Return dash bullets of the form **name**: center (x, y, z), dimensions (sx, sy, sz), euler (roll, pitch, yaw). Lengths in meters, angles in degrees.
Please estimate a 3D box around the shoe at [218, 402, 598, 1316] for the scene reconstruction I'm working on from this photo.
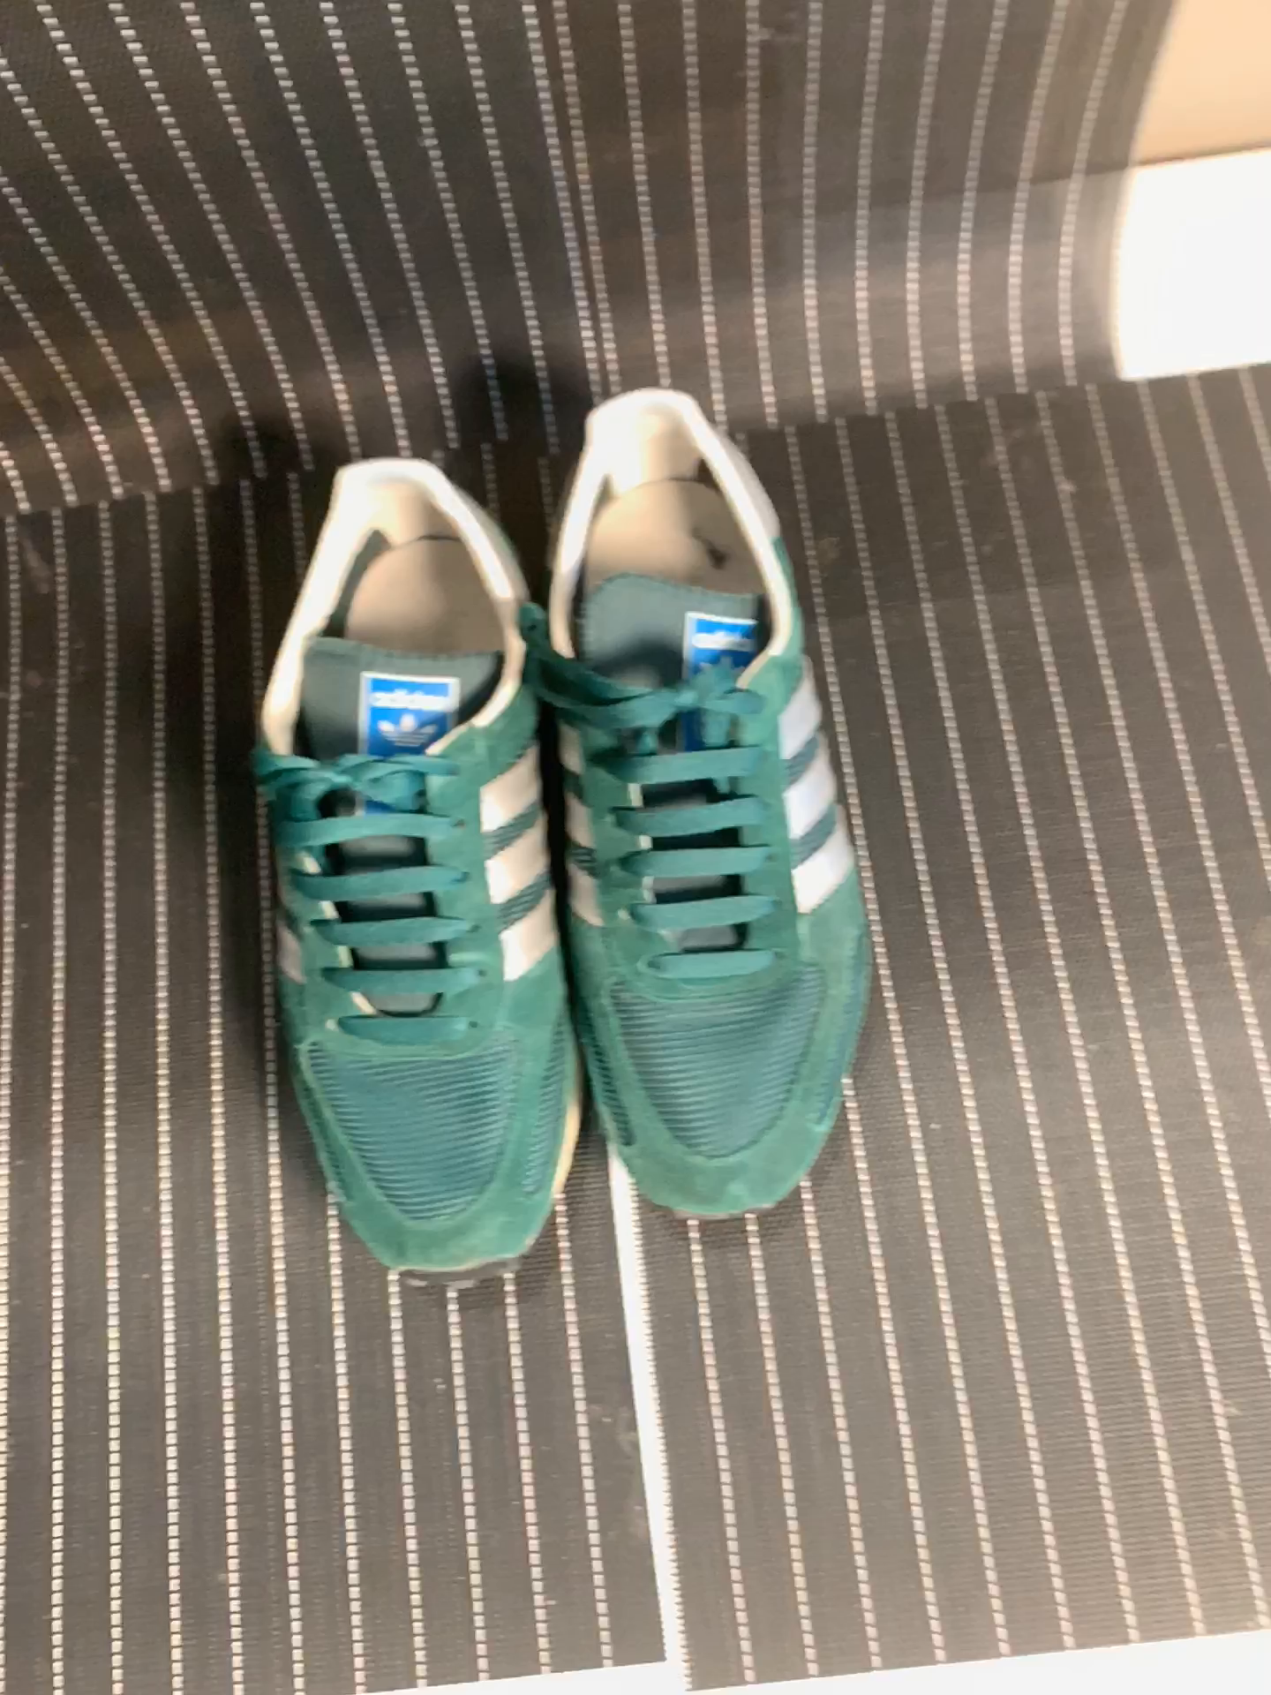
- **shoe**: center (-0.079, 0.003, 0.457), dimensions (0.100, 0.090, 0.290), euler (-6, 74, 3)

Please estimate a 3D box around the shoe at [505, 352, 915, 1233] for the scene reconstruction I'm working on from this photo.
- **shoe**: center (0.021, -0.013, 0.468), dimensions (0.100, 0.120, 0.280), euler (-6, 74, 3)
